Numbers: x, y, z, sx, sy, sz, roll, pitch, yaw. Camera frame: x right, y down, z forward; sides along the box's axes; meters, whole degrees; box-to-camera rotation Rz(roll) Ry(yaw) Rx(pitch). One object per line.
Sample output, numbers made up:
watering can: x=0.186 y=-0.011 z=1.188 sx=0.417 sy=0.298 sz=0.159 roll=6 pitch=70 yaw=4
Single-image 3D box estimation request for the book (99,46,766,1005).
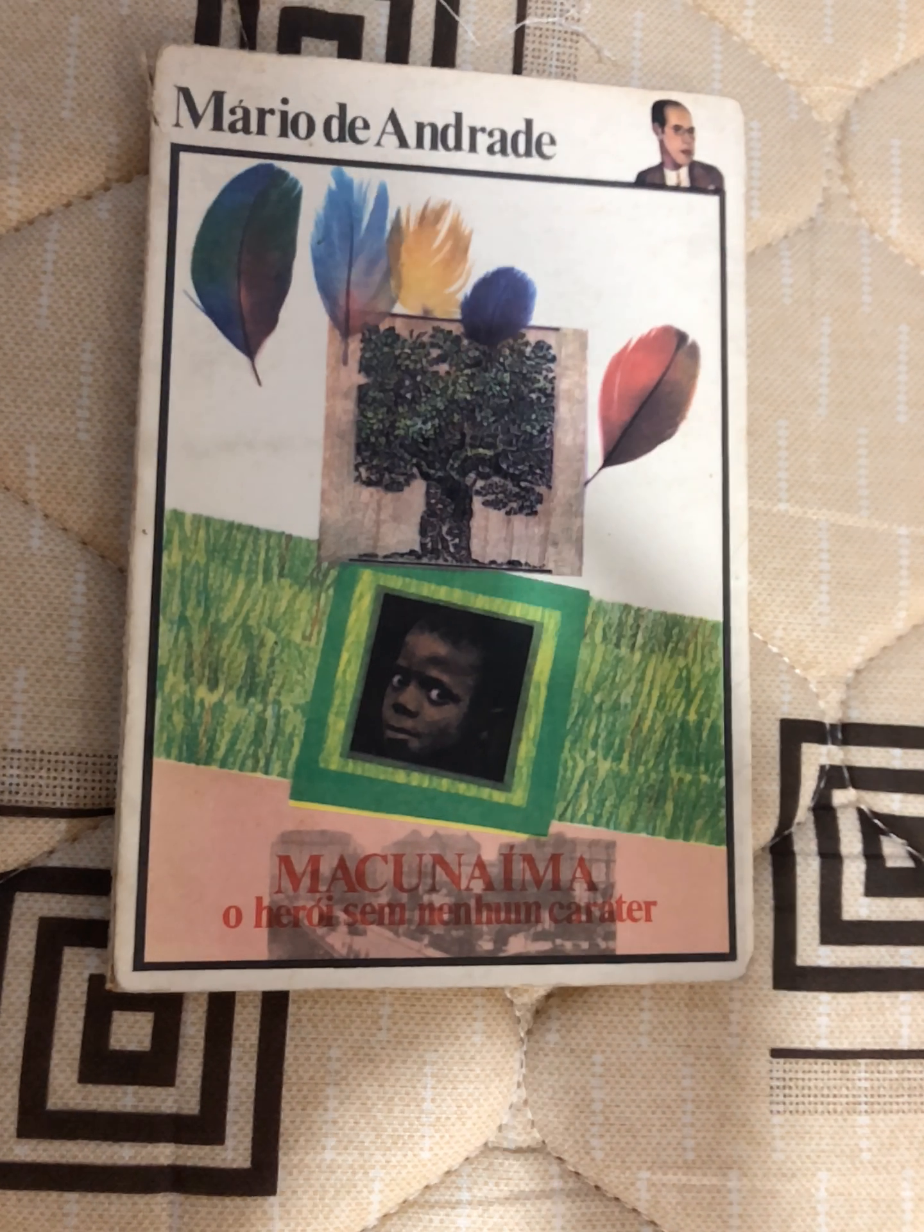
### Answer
book: x=-0.003 y=-0.019 z=0.221 sx=0.130 sy=0.020 sz=0.190 roll=2 pitch=84 yaw=-8
